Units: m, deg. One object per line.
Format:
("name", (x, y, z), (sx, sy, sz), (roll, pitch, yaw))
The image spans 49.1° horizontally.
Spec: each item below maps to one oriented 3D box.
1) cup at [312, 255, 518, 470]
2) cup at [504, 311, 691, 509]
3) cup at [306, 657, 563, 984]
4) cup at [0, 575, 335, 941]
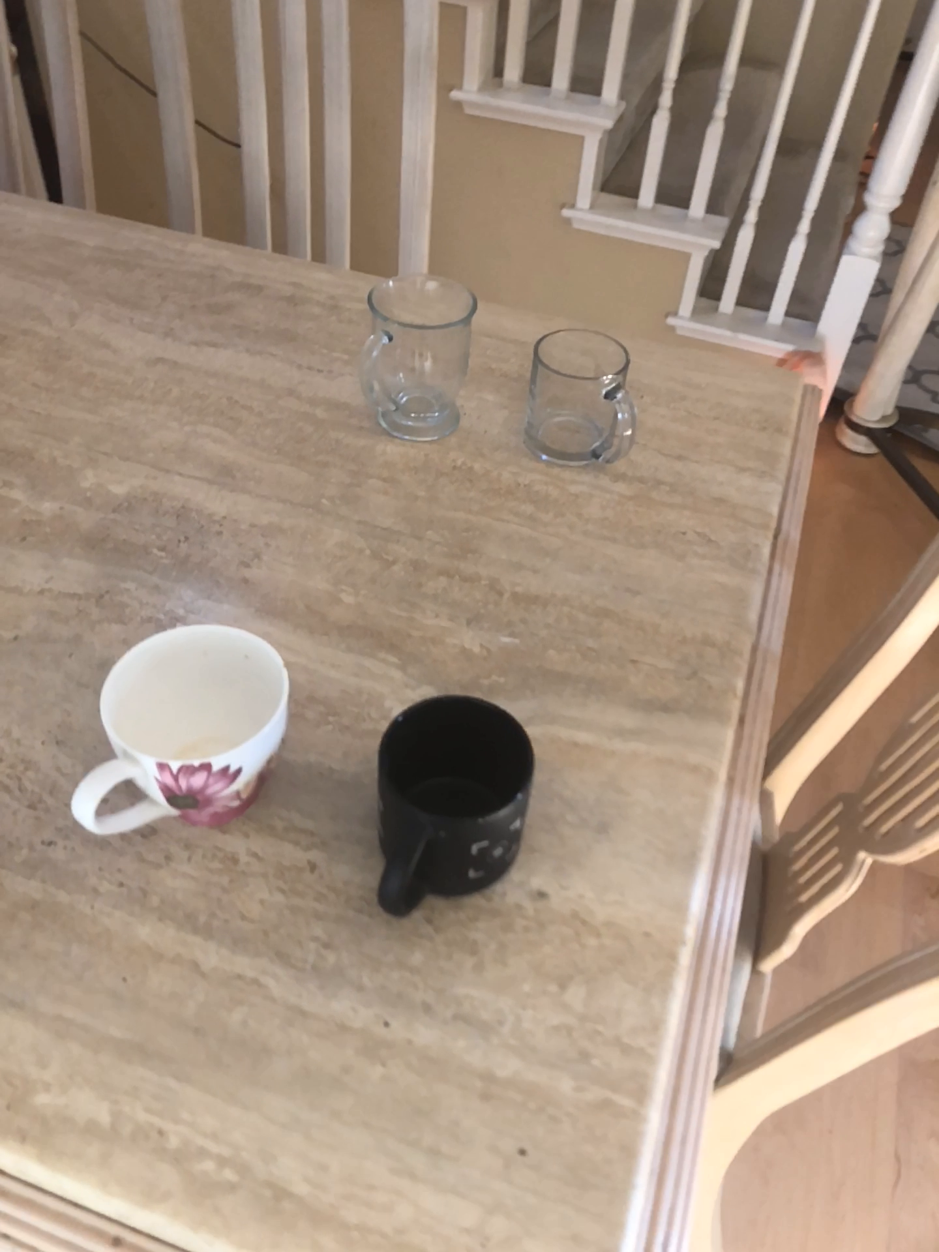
("cup", (-0.048, -0.243, 0.935), (0.110, 0.109, 0.151), (29, 50, 22))
("cup", (0.114, -0.200, 0.949), (0.091, 0.109, 0.130), (-33, 56, -31))
("cup", (-0.020, 0.114, 0.619), (0.090, 0.109, 0.131), (25, 48, 19))
("cup", (-0.176, 0.072, 0.614), (0.100, 0.099, 0.171), (28, 49, 21))
